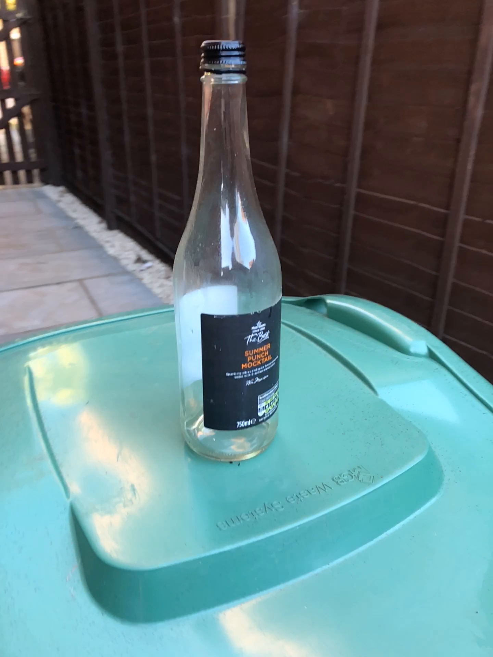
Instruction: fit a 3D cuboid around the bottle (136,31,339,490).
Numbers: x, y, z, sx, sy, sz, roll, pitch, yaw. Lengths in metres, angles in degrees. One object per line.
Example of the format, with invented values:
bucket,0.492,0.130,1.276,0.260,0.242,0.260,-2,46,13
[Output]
bottle,-0.009,-0.040,0.380,0.090,0.288,0.080,-16,30,-32
